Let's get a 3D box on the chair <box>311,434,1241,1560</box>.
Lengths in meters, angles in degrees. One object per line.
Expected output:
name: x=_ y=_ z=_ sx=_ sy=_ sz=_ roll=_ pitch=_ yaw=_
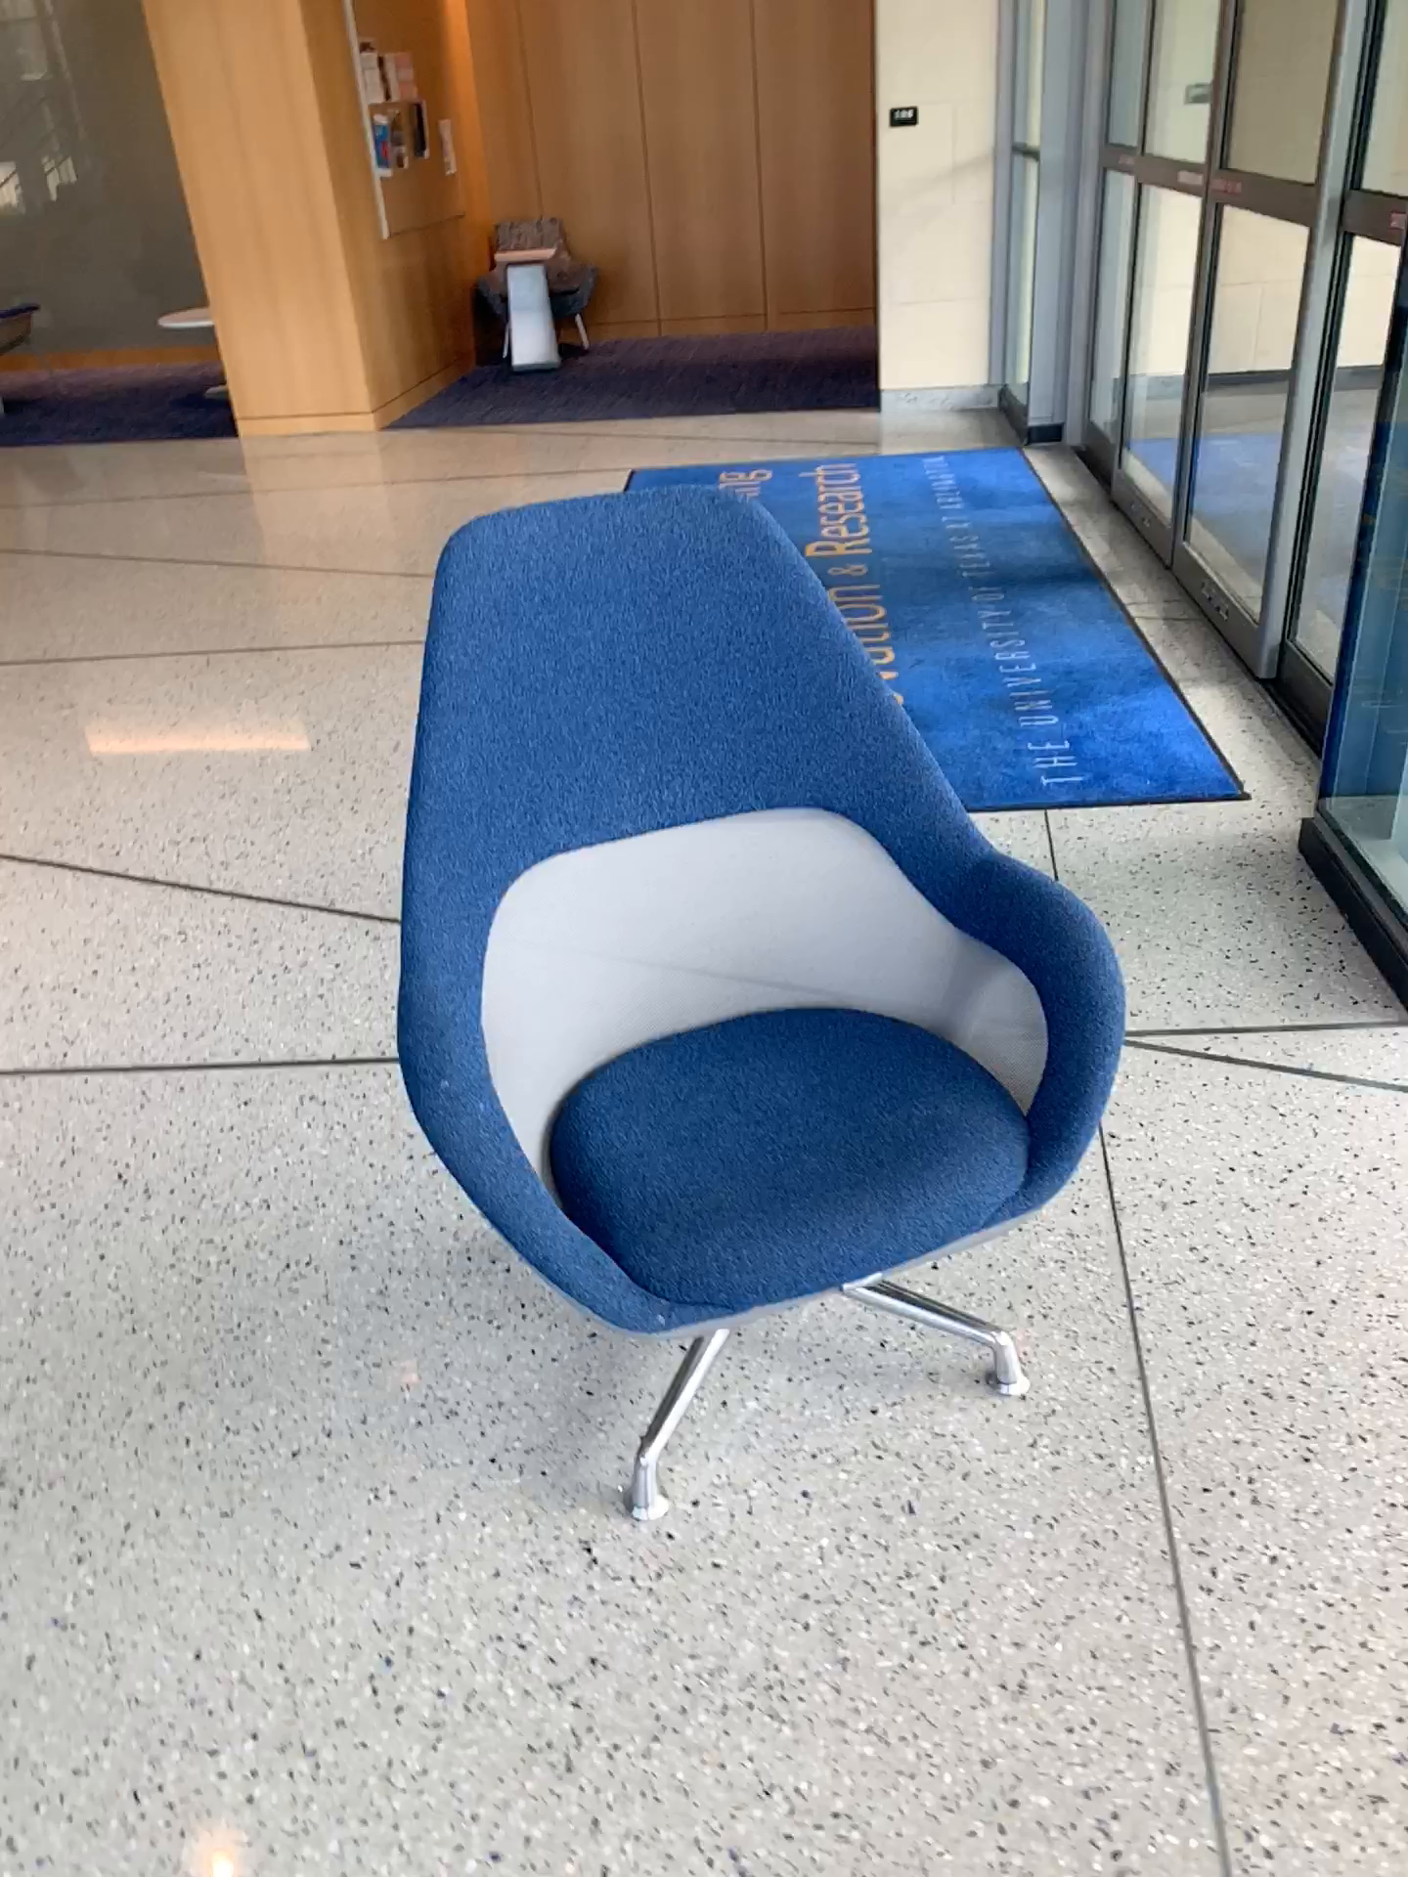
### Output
chair: x=0.033 y=-0.004 z=1.721 sx=0.725 sy=0.933 sz=0.790 roll=-13 pitch=31 yaw=-15
